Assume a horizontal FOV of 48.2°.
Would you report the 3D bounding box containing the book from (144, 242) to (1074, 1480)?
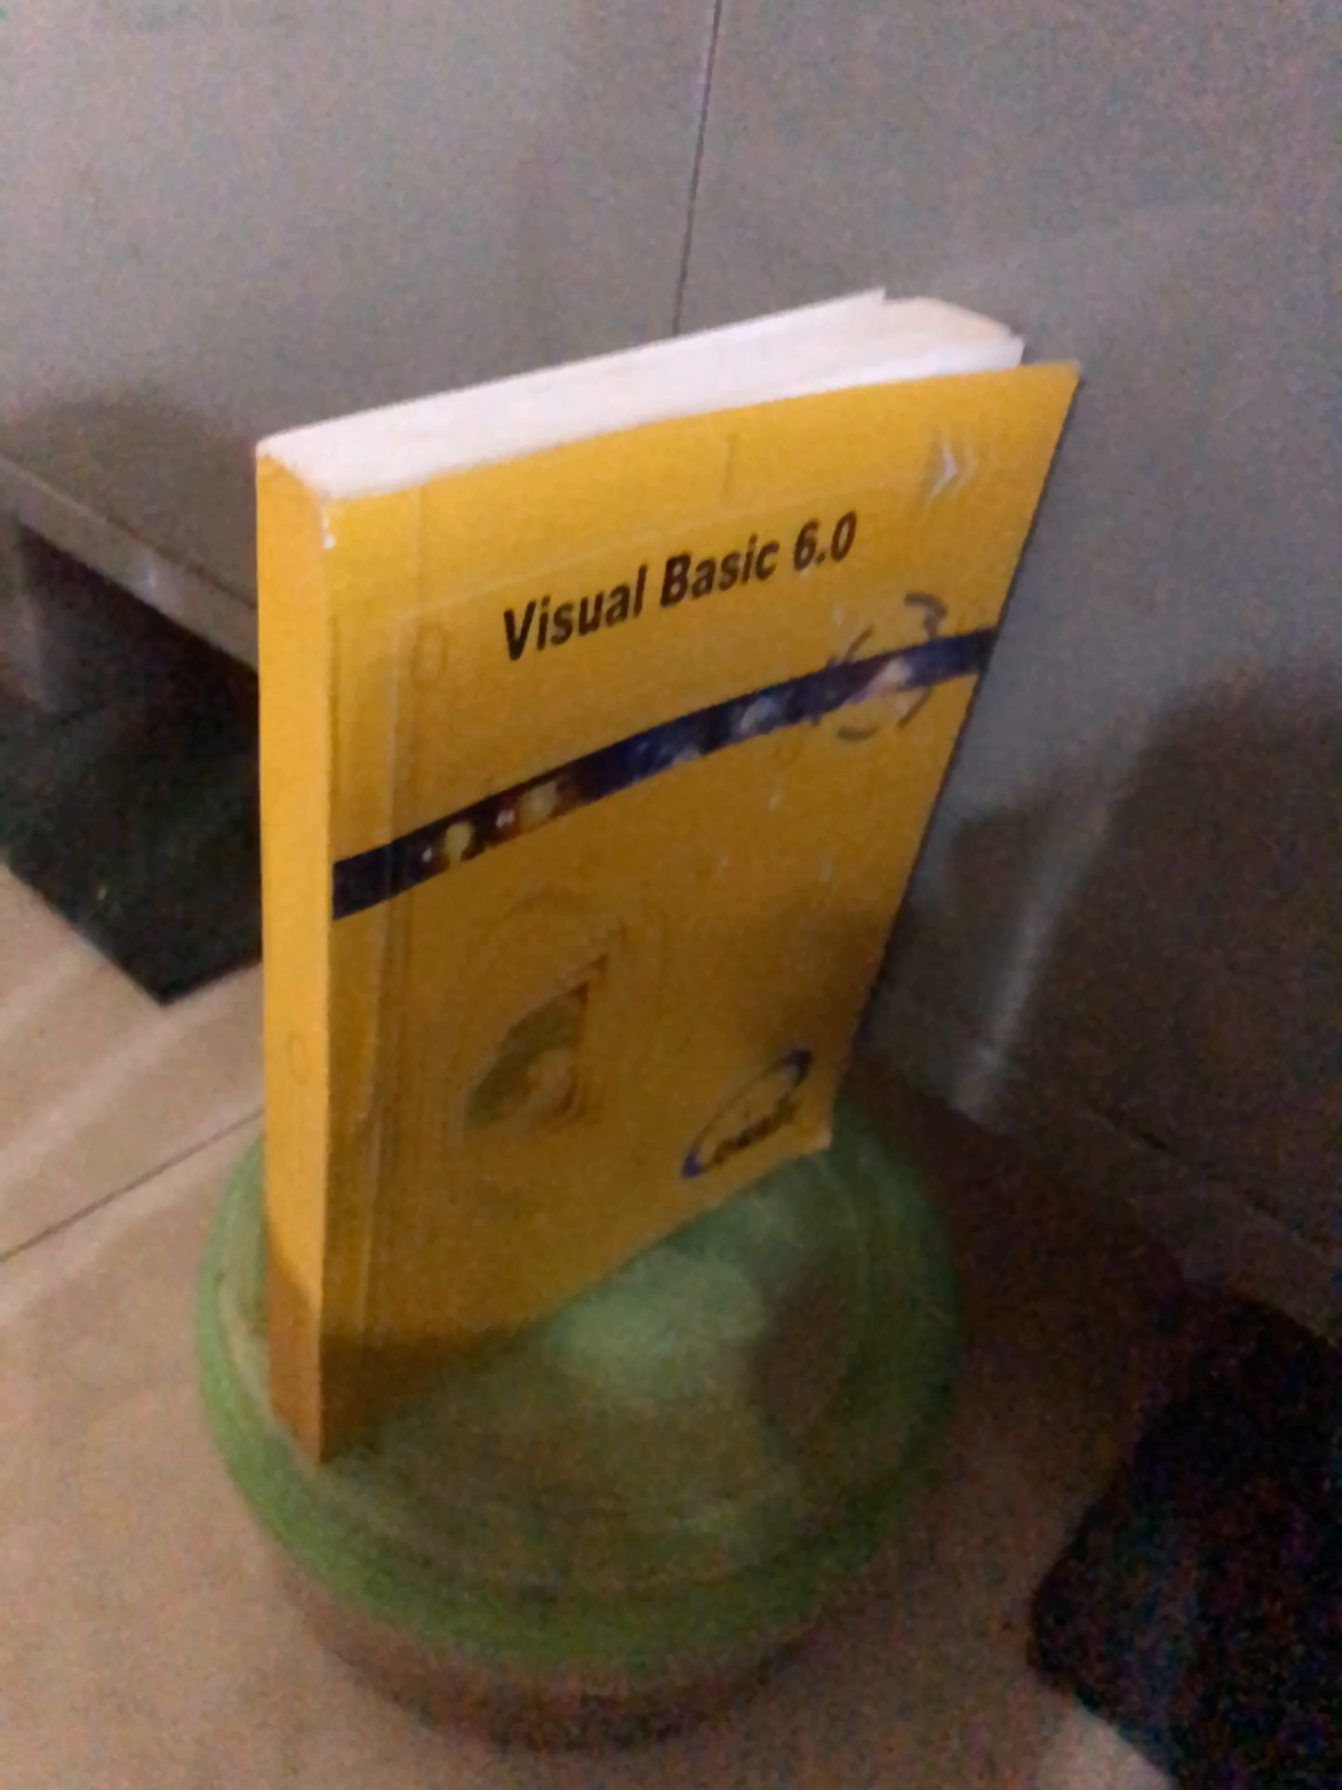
[{"bbox_3d":[-0.013,-0.006,0.387,0.040,0.279,0.221,36,45,30],"label":"book"}]
